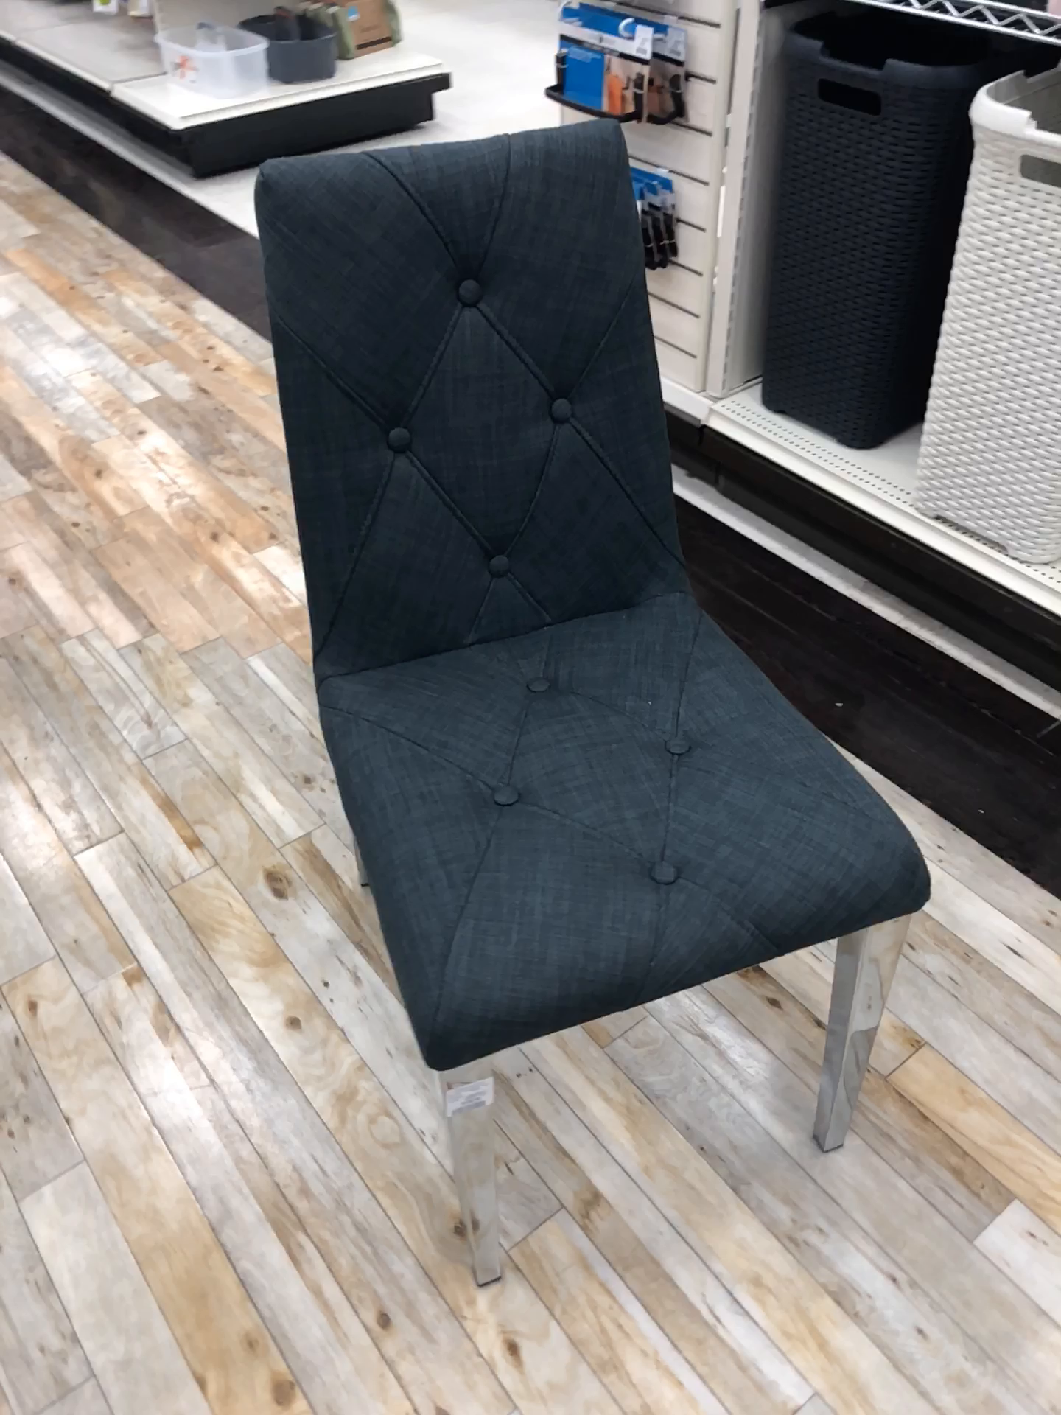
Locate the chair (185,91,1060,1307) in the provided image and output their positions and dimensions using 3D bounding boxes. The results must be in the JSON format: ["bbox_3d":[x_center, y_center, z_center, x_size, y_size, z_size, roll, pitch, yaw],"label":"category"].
[{"bbox_3d":[0.042,0.003,1.074,0.450,0.866,0.582,-15,43,-15],"label":"chair"}]
